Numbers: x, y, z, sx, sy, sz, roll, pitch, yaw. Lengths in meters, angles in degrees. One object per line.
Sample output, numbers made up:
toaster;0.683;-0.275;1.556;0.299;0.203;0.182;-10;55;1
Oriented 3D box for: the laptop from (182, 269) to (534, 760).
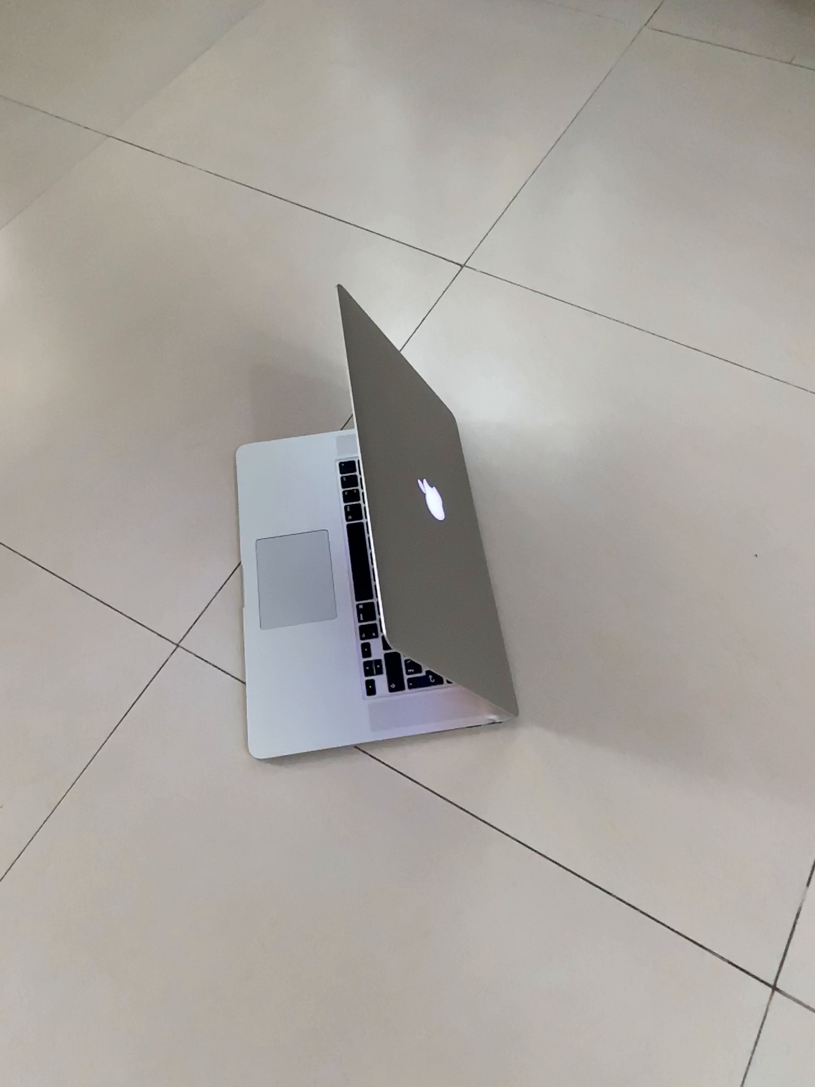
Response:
laptop;-0.054;-0.027;0.753;0.241;0.208;0.360;-8;60;-2
